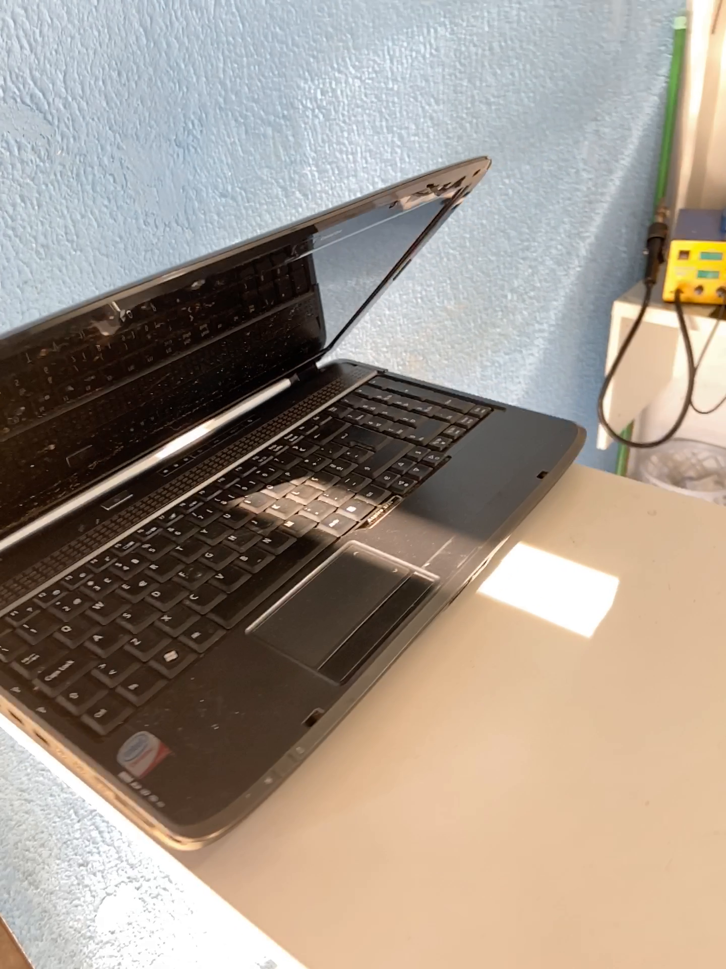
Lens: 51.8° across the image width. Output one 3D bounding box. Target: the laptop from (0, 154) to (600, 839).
[{"bbox_3d":[-0.053,-0.060,0.432,0.236,0.174,0.379,18,38,32],"label":"laptop"}]
